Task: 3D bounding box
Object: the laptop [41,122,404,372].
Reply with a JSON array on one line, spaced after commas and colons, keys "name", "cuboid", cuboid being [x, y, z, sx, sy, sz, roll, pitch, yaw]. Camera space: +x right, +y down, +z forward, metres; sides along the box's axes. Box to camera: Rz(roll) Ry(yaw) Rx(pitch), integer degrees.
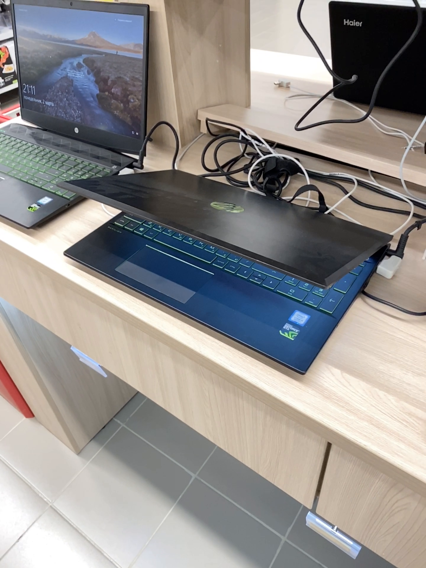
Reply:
[{"name": "laptop", "cuboid": [0.010, -0.082, 0.552, 0.362, 0.092, 0.242, 23, 49, 27]}]
